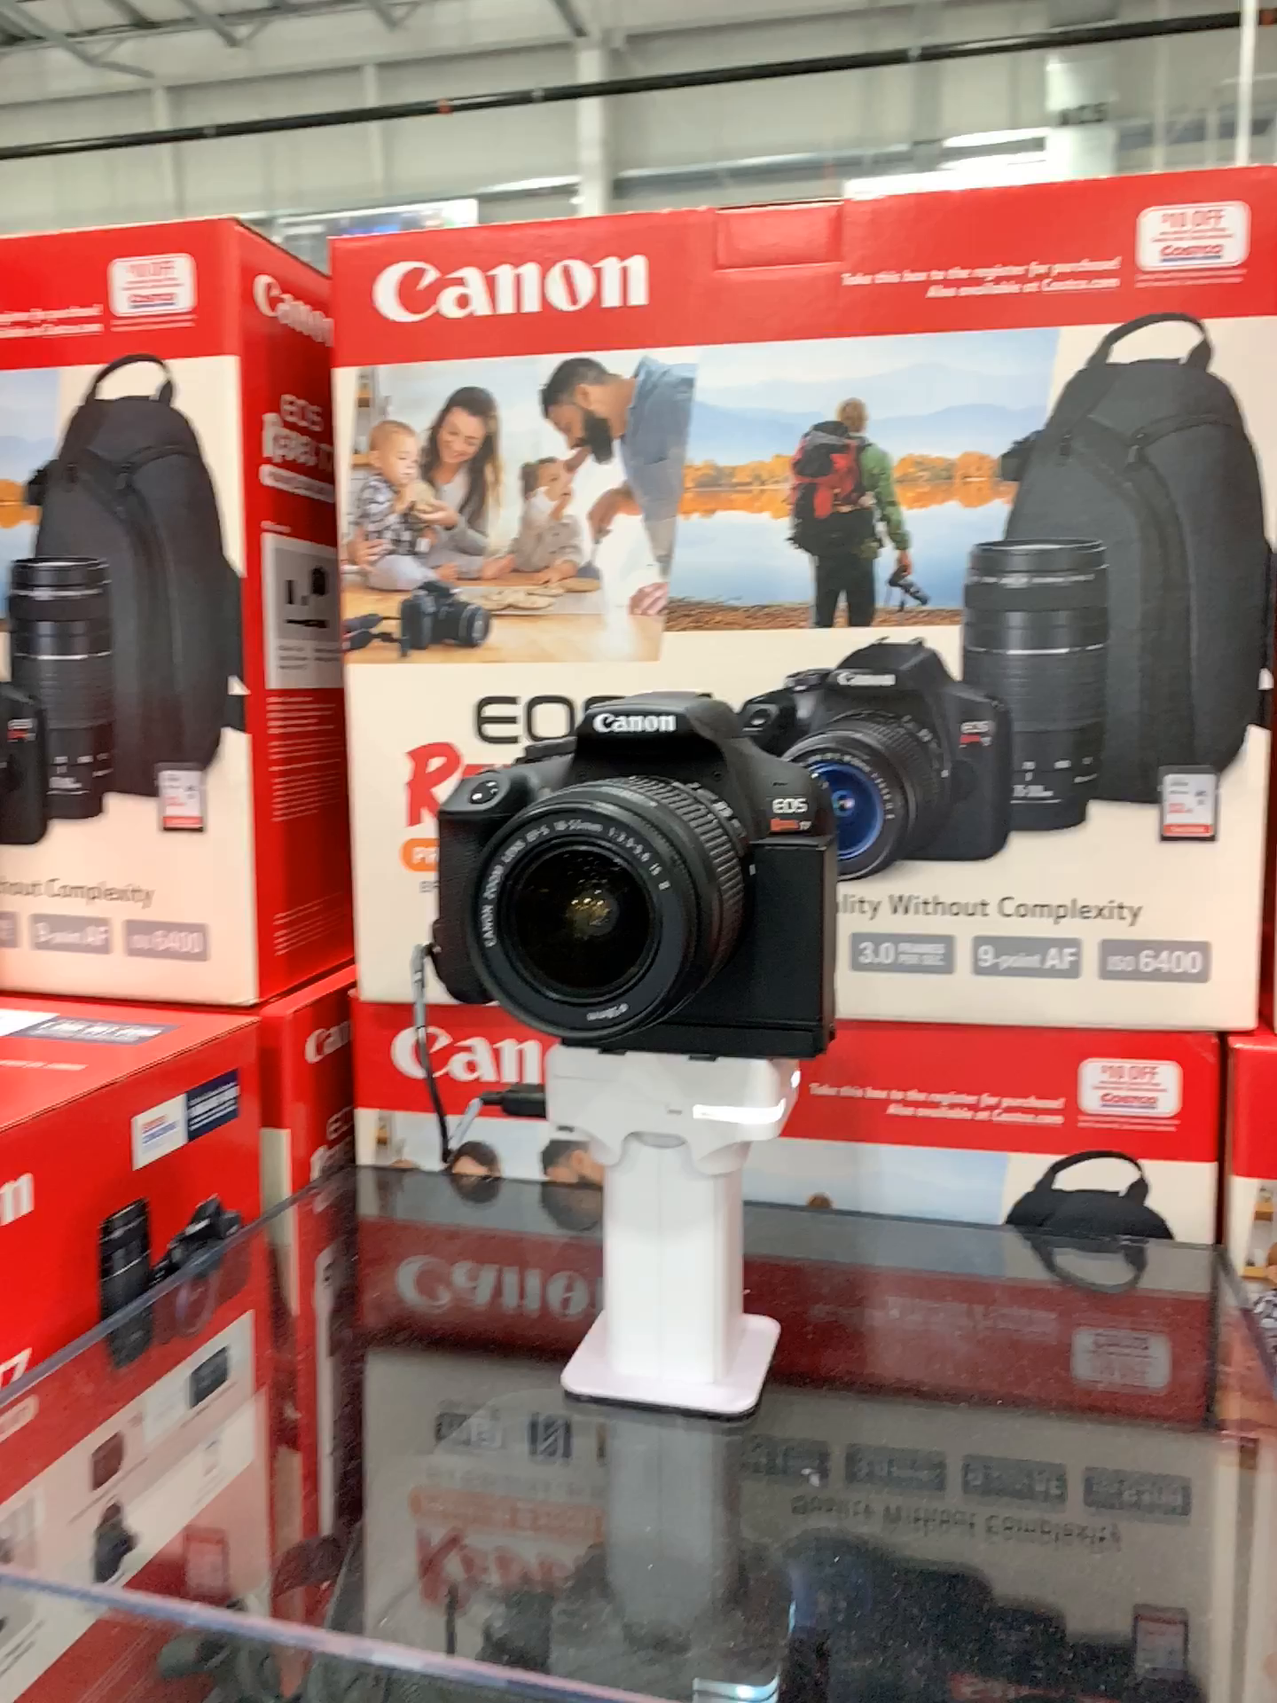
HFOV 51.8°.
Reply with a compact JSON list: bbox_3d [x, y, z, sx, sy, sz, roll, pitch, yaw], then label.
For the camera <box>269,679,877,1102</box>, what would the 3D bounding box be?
[{"bbox_3d":[-0.006,-0.002,0.403,0.140,0.100,0.160,2,7,16],"label":"camera"}]
